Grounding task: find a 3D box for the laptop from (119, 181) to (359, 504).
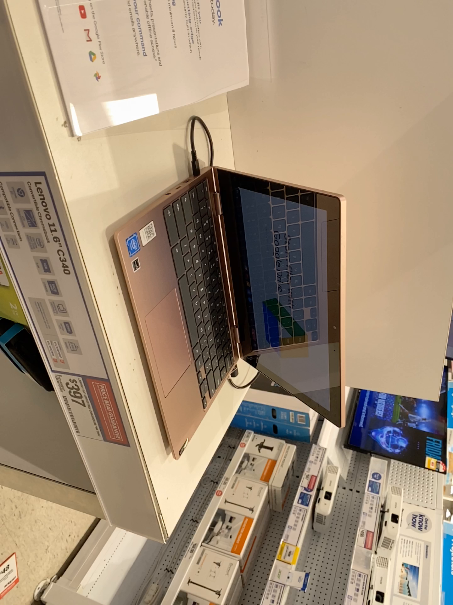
[{"bbox_3d":[0.041,0.031,0.515,0.197,0.168,0.281,-53,143,-50],"label":"laptop"}]
